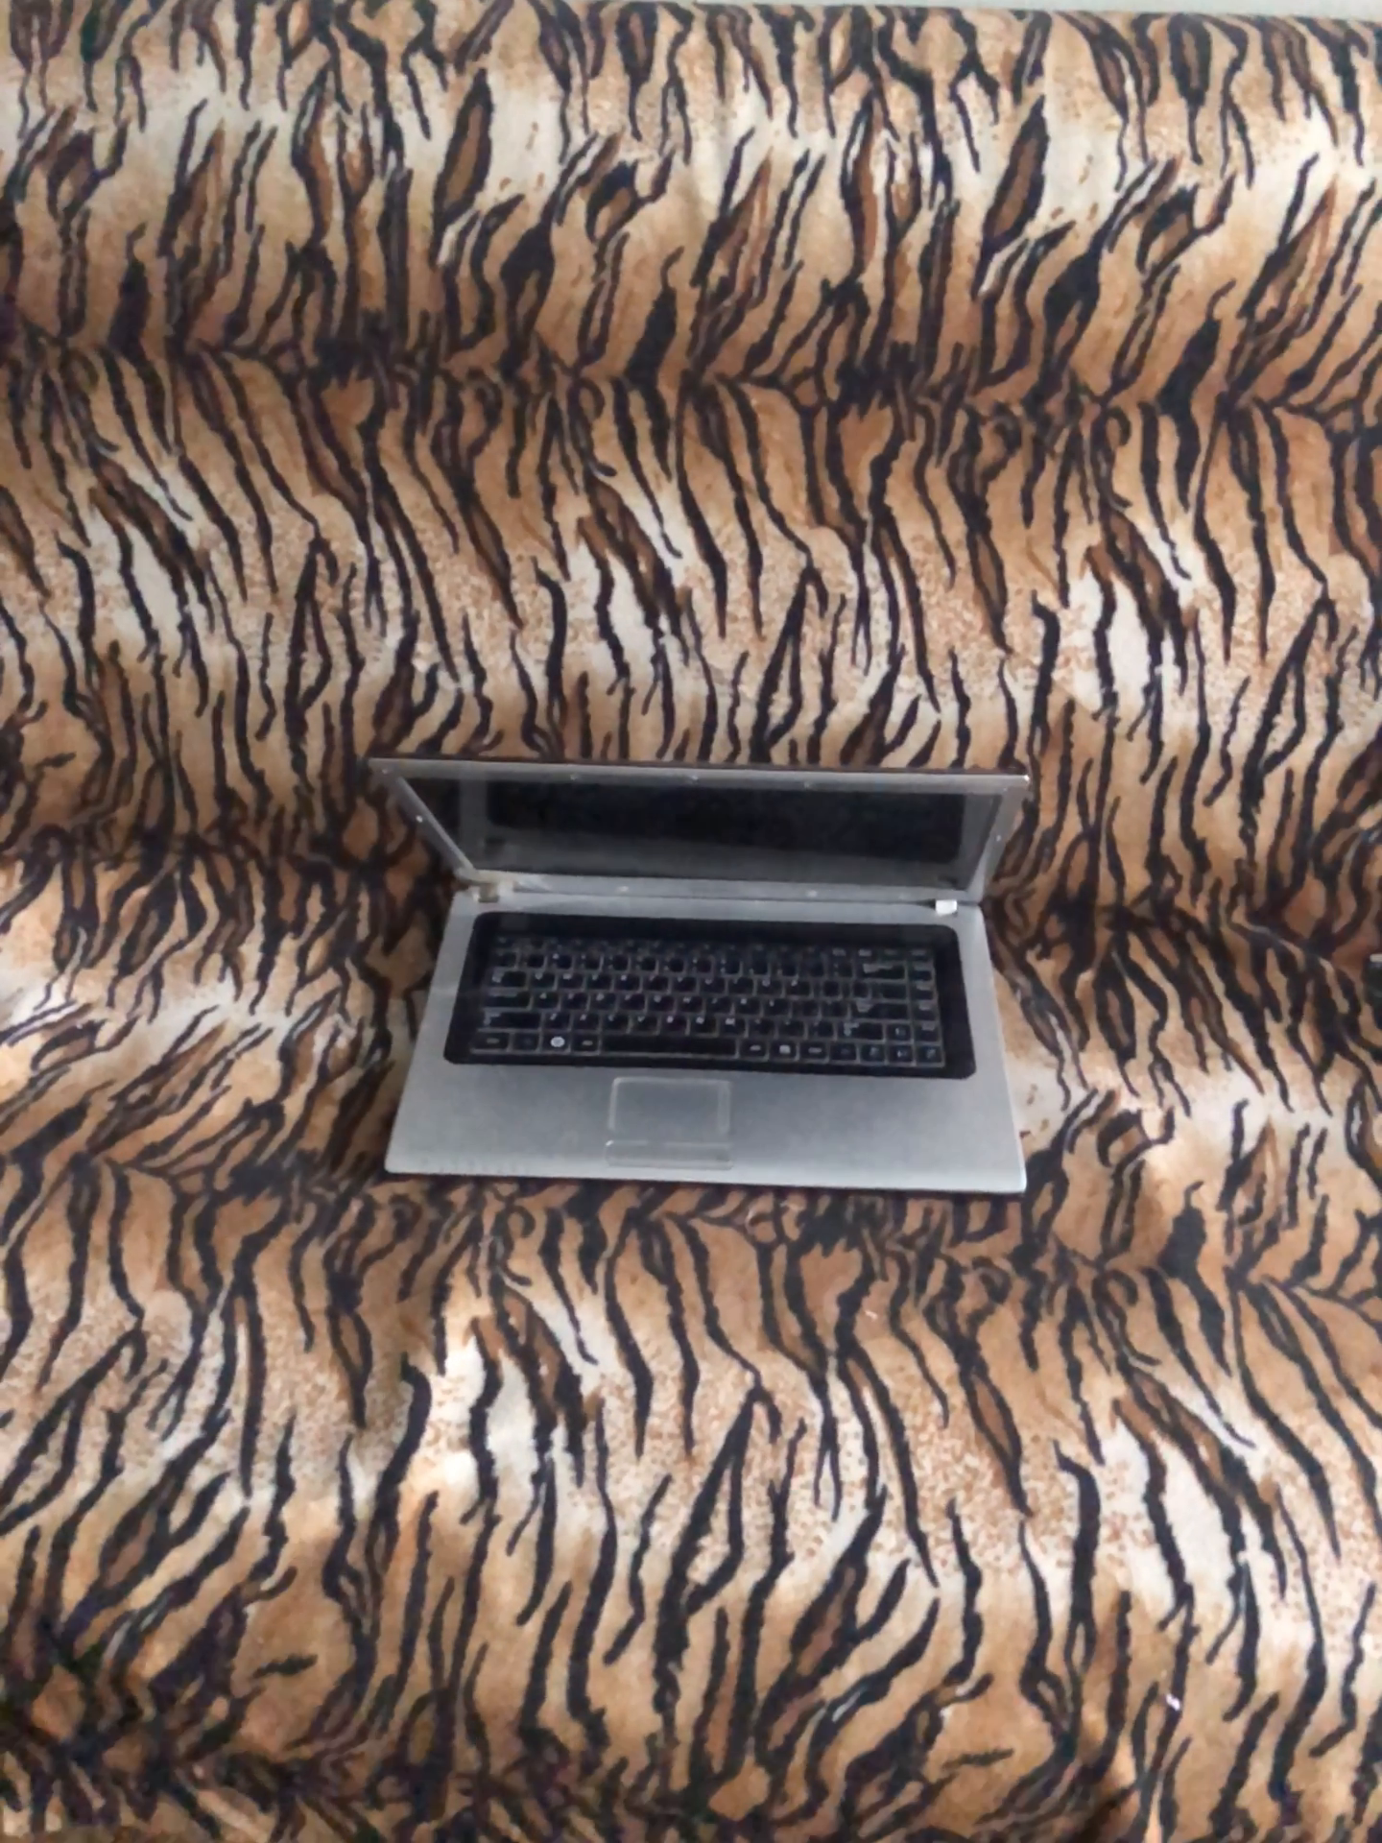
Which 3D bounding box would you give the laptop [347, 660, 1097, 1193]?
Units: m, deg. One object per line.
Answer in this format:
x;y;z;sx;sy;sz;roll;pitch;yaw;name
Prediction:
0.015;-0.004;0.858;0.350;0.179;0.239;2;42;2;laptop
